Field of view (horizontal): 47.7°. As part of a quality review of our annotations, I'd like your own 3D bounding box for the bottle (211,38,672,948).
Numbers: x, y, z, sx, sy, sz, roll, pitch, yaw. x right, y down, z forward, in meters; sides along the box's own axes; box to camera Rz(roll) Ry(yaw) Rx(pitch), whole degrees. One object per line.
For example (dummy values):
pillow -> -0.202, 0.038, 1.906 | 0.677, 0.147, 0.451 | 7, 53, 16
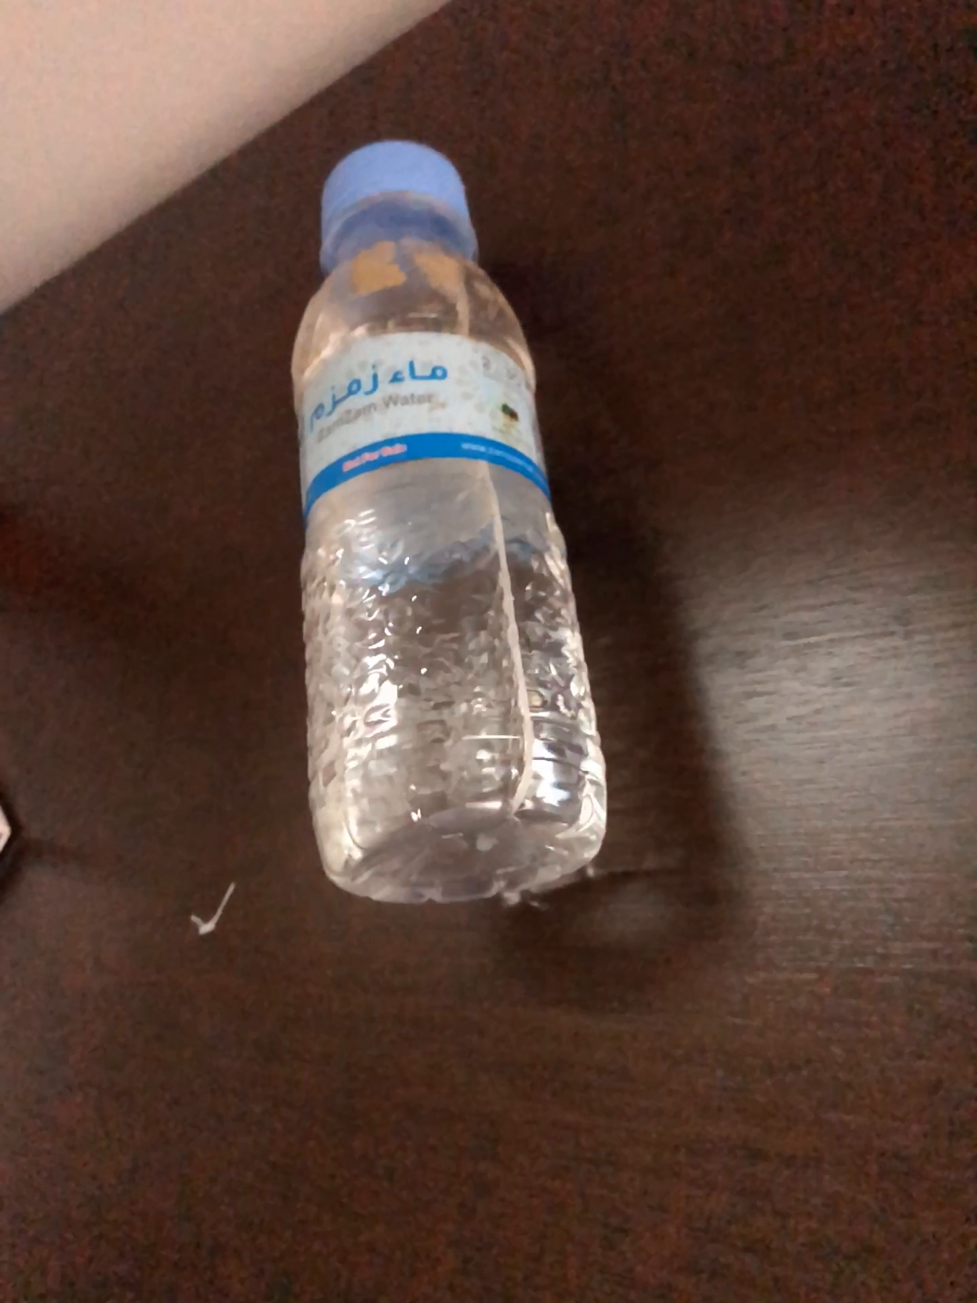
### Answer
bottle -> -0.015, -0.033, 0.209 | 0.050, 0.050, 0.160 | -22, 59, 23
